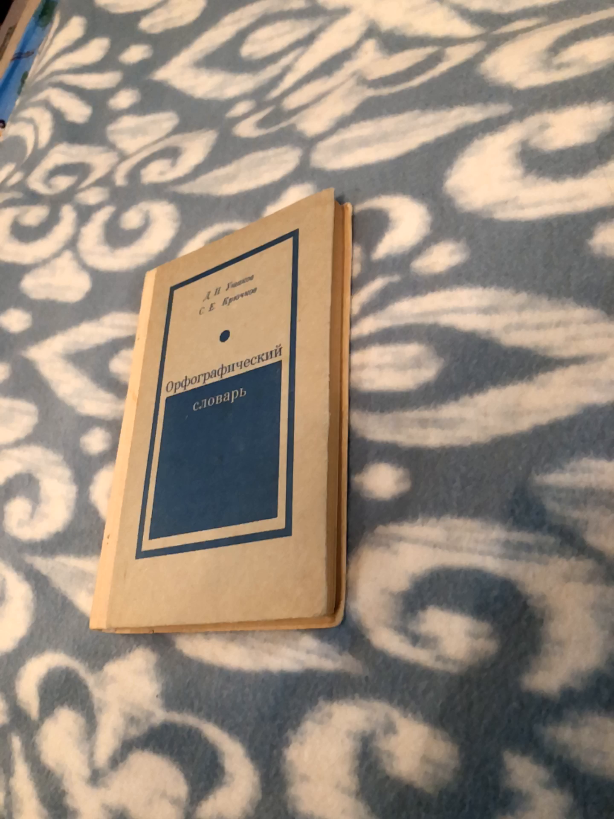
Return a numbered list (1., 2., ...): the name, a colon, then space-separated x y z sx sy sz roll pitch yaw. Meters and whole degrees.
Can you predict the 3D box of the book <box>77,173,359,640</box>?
1. book: -0.040 -0.001 0.331 0.137 0.022 0.210 -14 60 32
